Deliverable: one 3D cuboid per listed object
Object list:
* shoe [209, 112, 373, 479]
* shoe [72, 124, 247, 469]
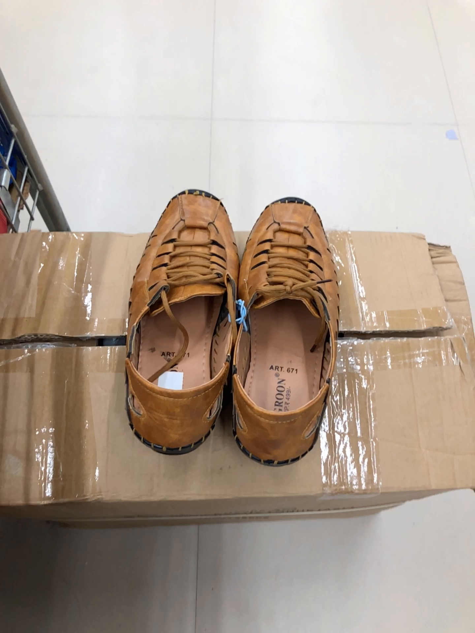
[{"bbox_3d":[0.048,-0.024,0.471,0.110,0.119,0.301,5,64,1],"label":"shoe"},{"bbox_3d":[-0.054,-0.022,0.484,0.110,0.119,0.291,3,64,0],"label":"shoe"}]
